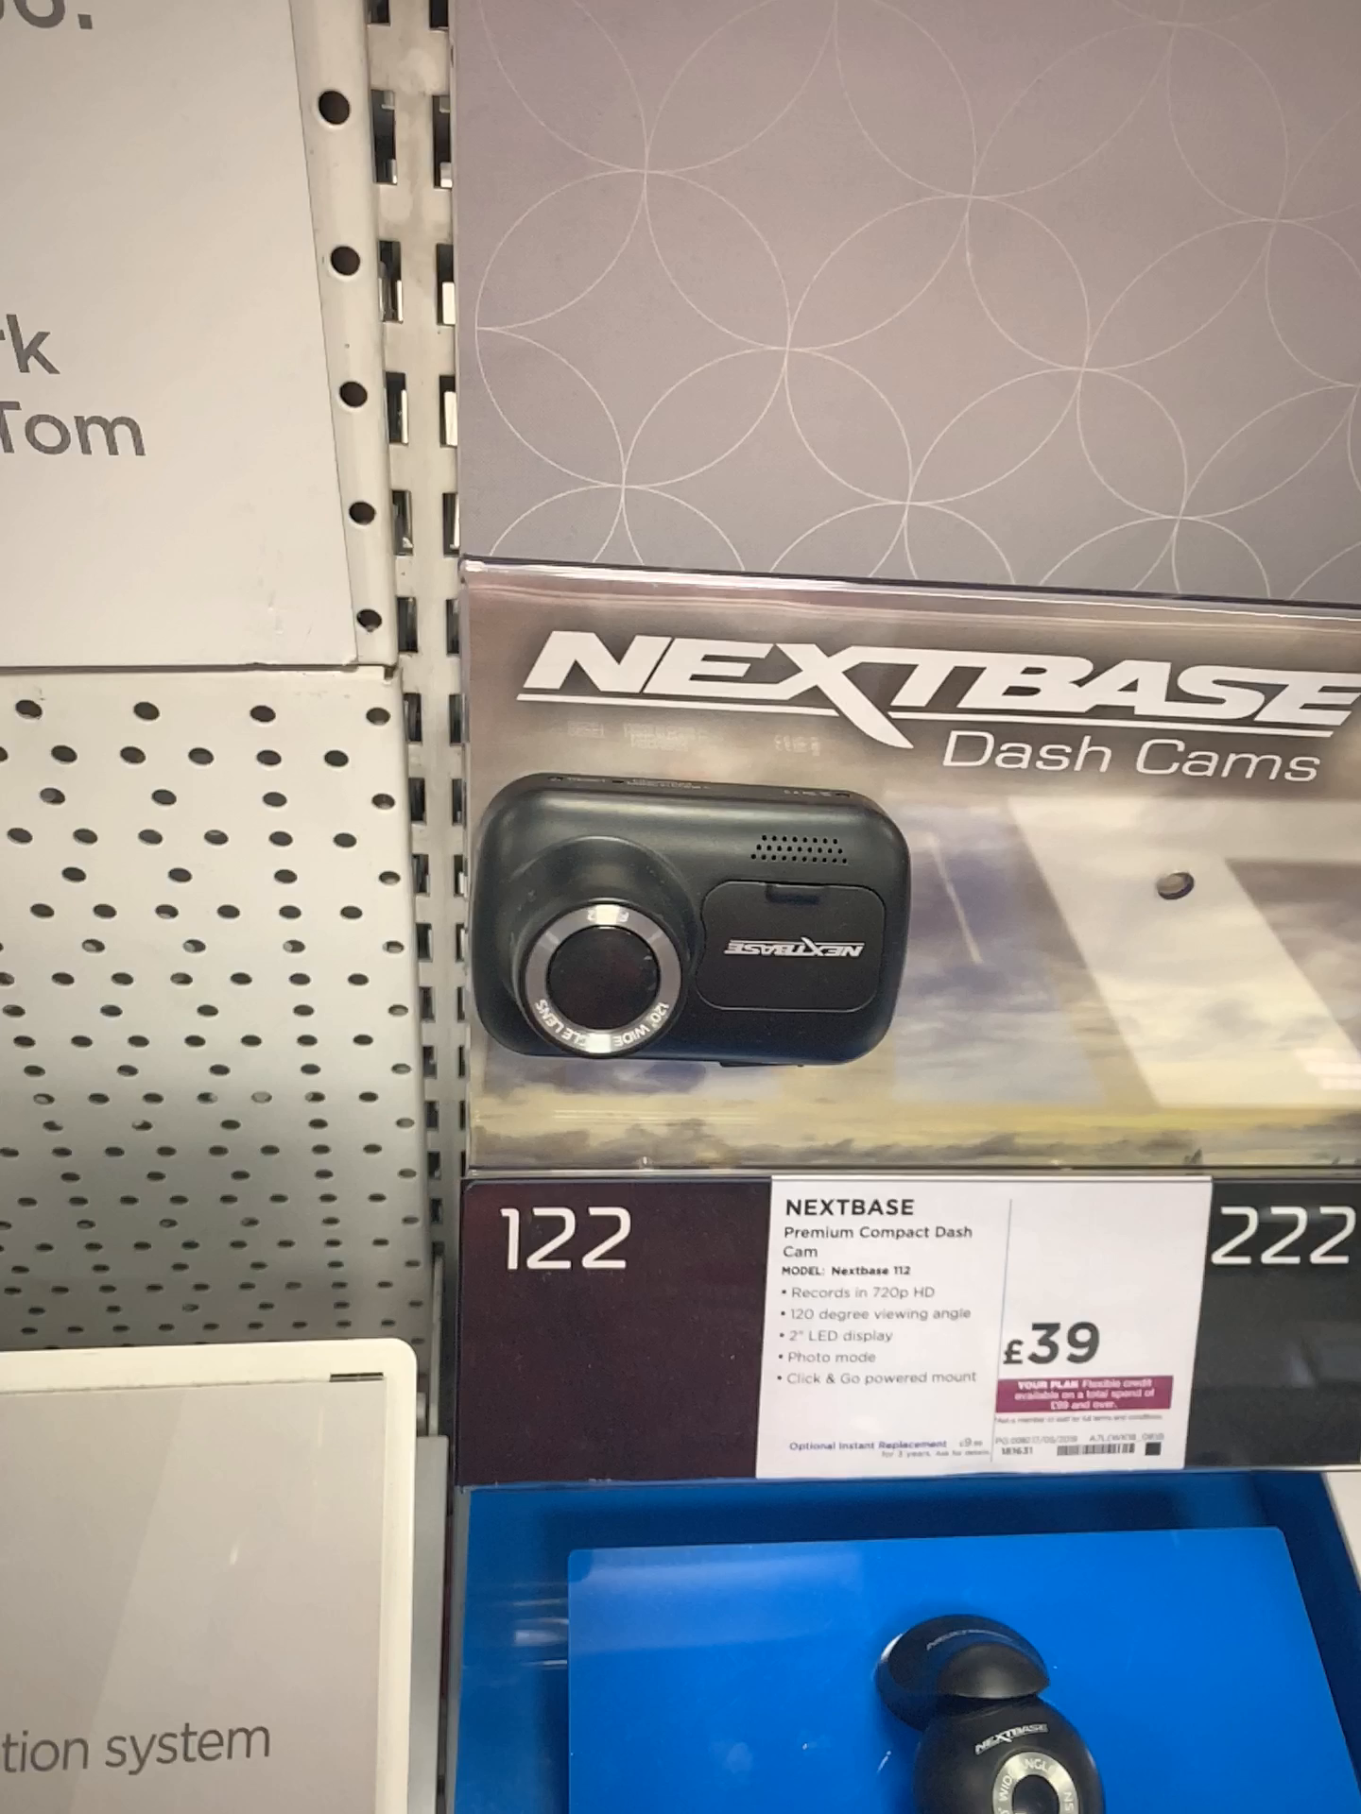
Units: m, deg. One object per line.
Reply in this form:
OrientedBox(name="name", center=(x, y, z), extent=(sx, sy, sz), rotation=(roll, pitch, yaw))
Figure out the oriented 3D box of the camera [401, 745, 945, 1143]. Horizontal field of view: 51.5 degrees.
OrientedBox(name="camera", center=(-0.003, 0.004, 0.245), extent=(0.080, 0.050, 0.060), rotation=(3, 14, -4))
